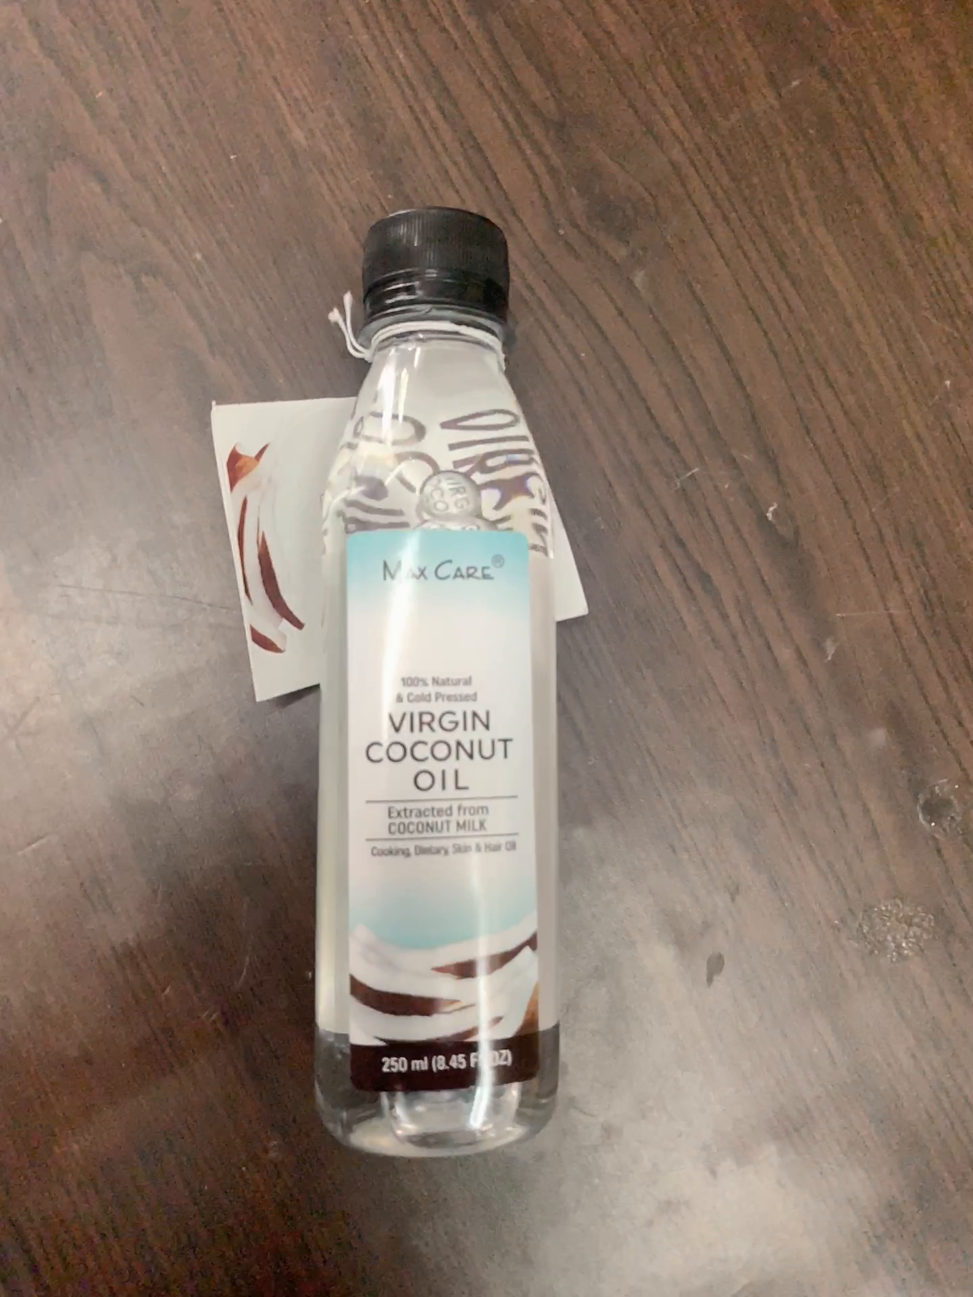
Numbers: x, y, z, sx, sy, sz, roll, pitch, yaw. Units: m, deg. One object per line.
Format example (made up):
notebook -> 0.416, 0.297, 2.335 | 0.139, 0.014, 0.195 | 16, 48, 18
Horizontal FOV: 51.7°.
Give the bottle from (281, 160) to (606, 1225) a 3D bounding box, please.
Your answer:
bottle -> -0.010, 0.005, 0.188 | 0.050, 0.050, 0.170 | 1, 84, -7
